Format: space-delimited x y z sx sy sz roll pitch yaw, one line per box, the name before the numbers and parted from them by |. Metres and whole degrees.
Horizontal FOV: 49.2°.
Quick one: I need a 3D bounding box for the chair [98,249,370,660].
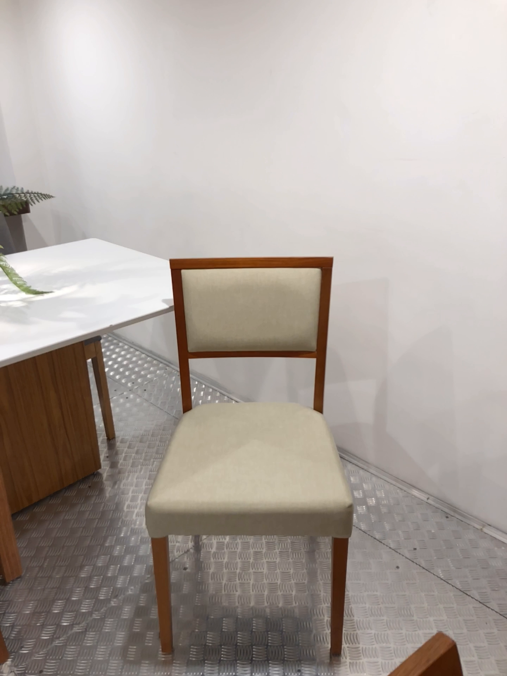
chair | -0.024 0.279 1.517 0.520 0.894 0.624 0 23 2
